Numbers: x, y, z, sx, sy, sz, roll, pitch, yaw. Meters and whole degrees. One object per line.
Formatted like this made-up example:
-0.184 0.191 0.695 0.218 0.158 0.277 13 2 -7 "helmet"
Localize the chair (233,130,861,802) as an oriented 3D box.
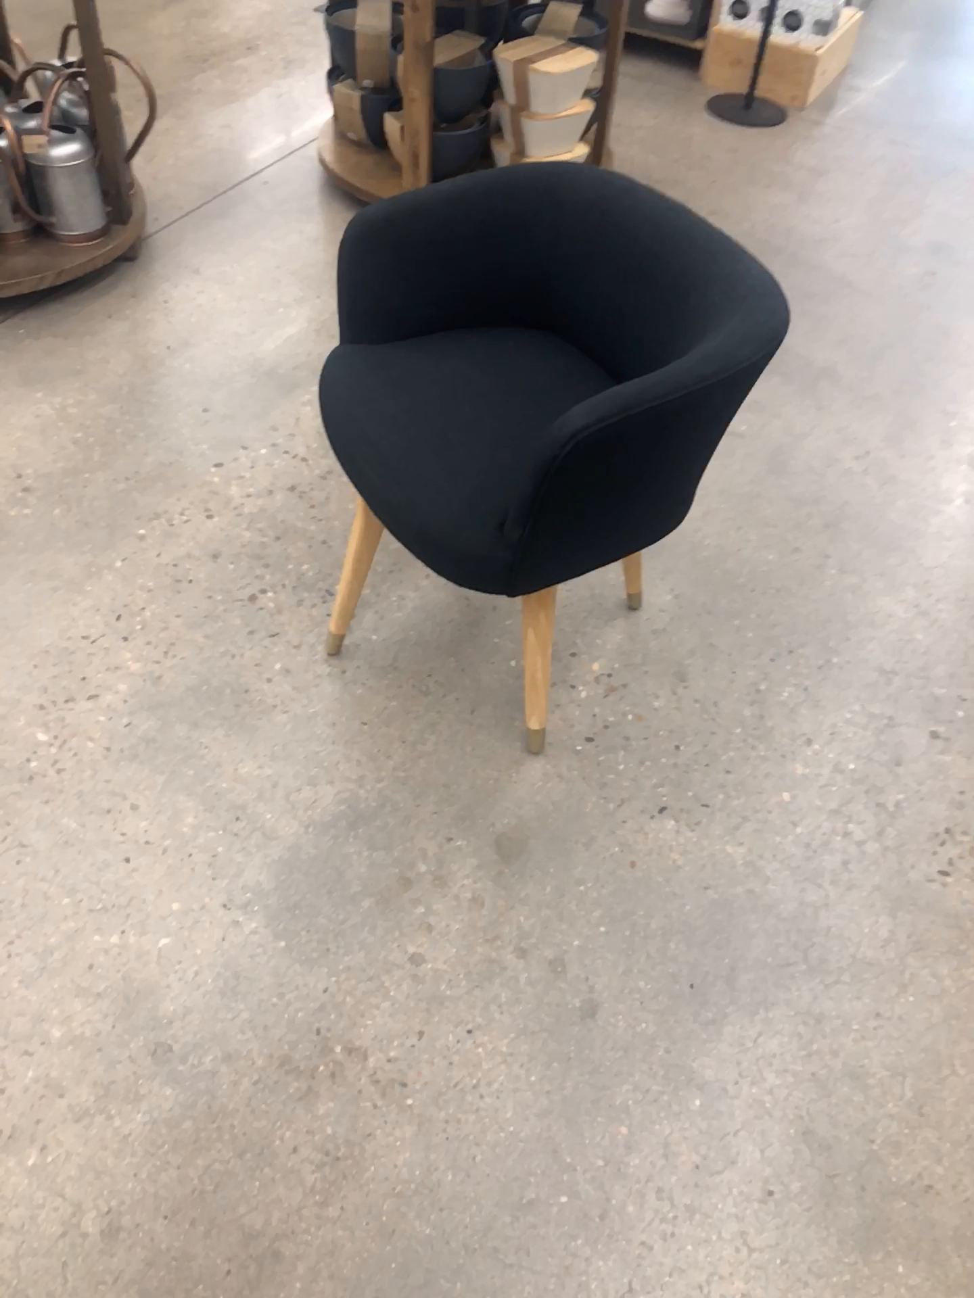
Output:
0.027 -0.286 1.592 0.604 0.670 0.604 -14 49 -18 "chair"
